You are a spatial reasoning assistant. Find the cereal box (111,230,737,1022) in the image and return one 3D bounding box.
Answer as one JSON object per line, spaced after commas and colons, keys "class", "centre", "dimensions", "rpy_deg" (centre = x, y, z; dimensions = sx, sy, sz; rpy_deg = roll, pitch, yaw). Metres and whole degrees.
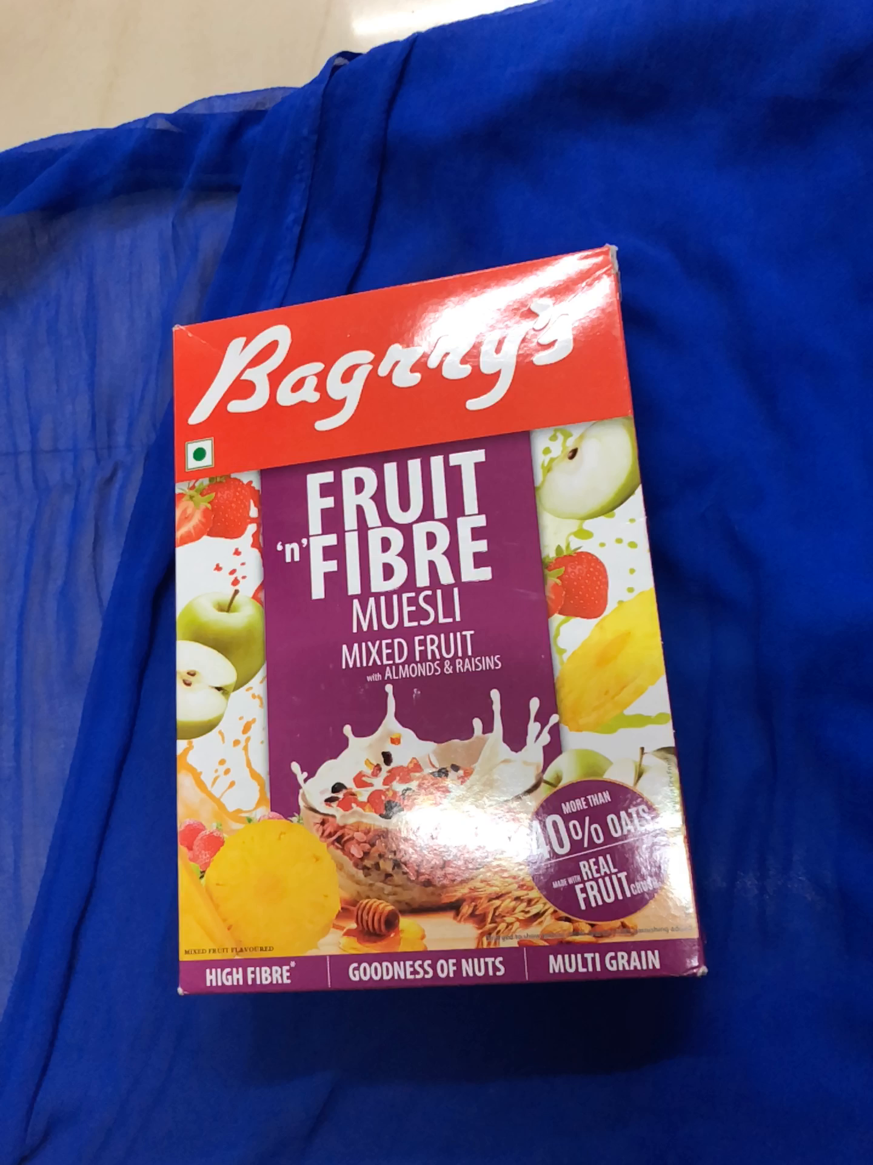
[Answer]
{"class": "cereal box", "centre": [-0.011, 0.019, 0.366], "dimensions": [0.200, 0.080, 0.250], "rpy_deg": [-7, 77, 11]}
